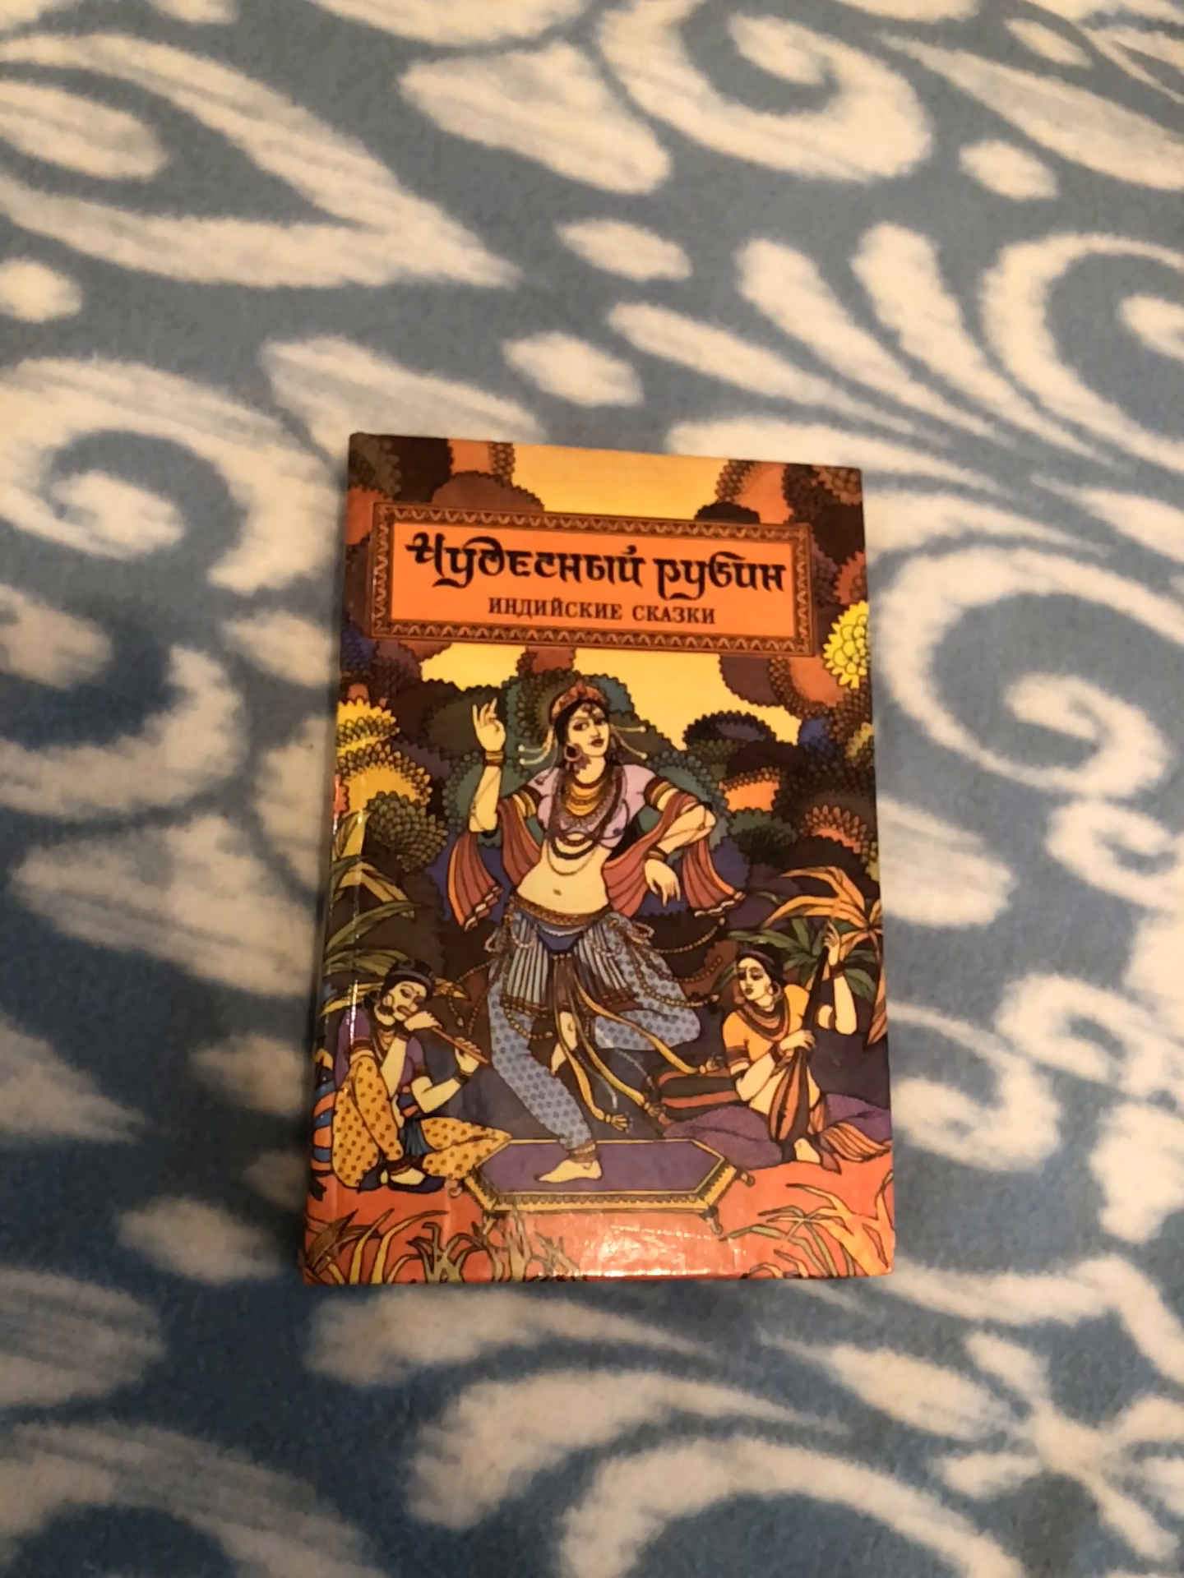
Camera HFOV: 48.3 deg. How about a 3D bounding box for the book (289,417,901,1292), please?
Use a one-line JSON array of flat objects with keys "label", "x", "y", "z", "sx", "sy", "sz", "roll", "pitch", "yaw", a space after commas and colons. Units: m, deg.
[{"label": "book", "x": 0.002, "y": 0.014, "z": 0.334, "sx": 0.139, "sy": 0.027, "sz": 0.210, "roll": 2, "pitch": 77, "yaw": -7}]
